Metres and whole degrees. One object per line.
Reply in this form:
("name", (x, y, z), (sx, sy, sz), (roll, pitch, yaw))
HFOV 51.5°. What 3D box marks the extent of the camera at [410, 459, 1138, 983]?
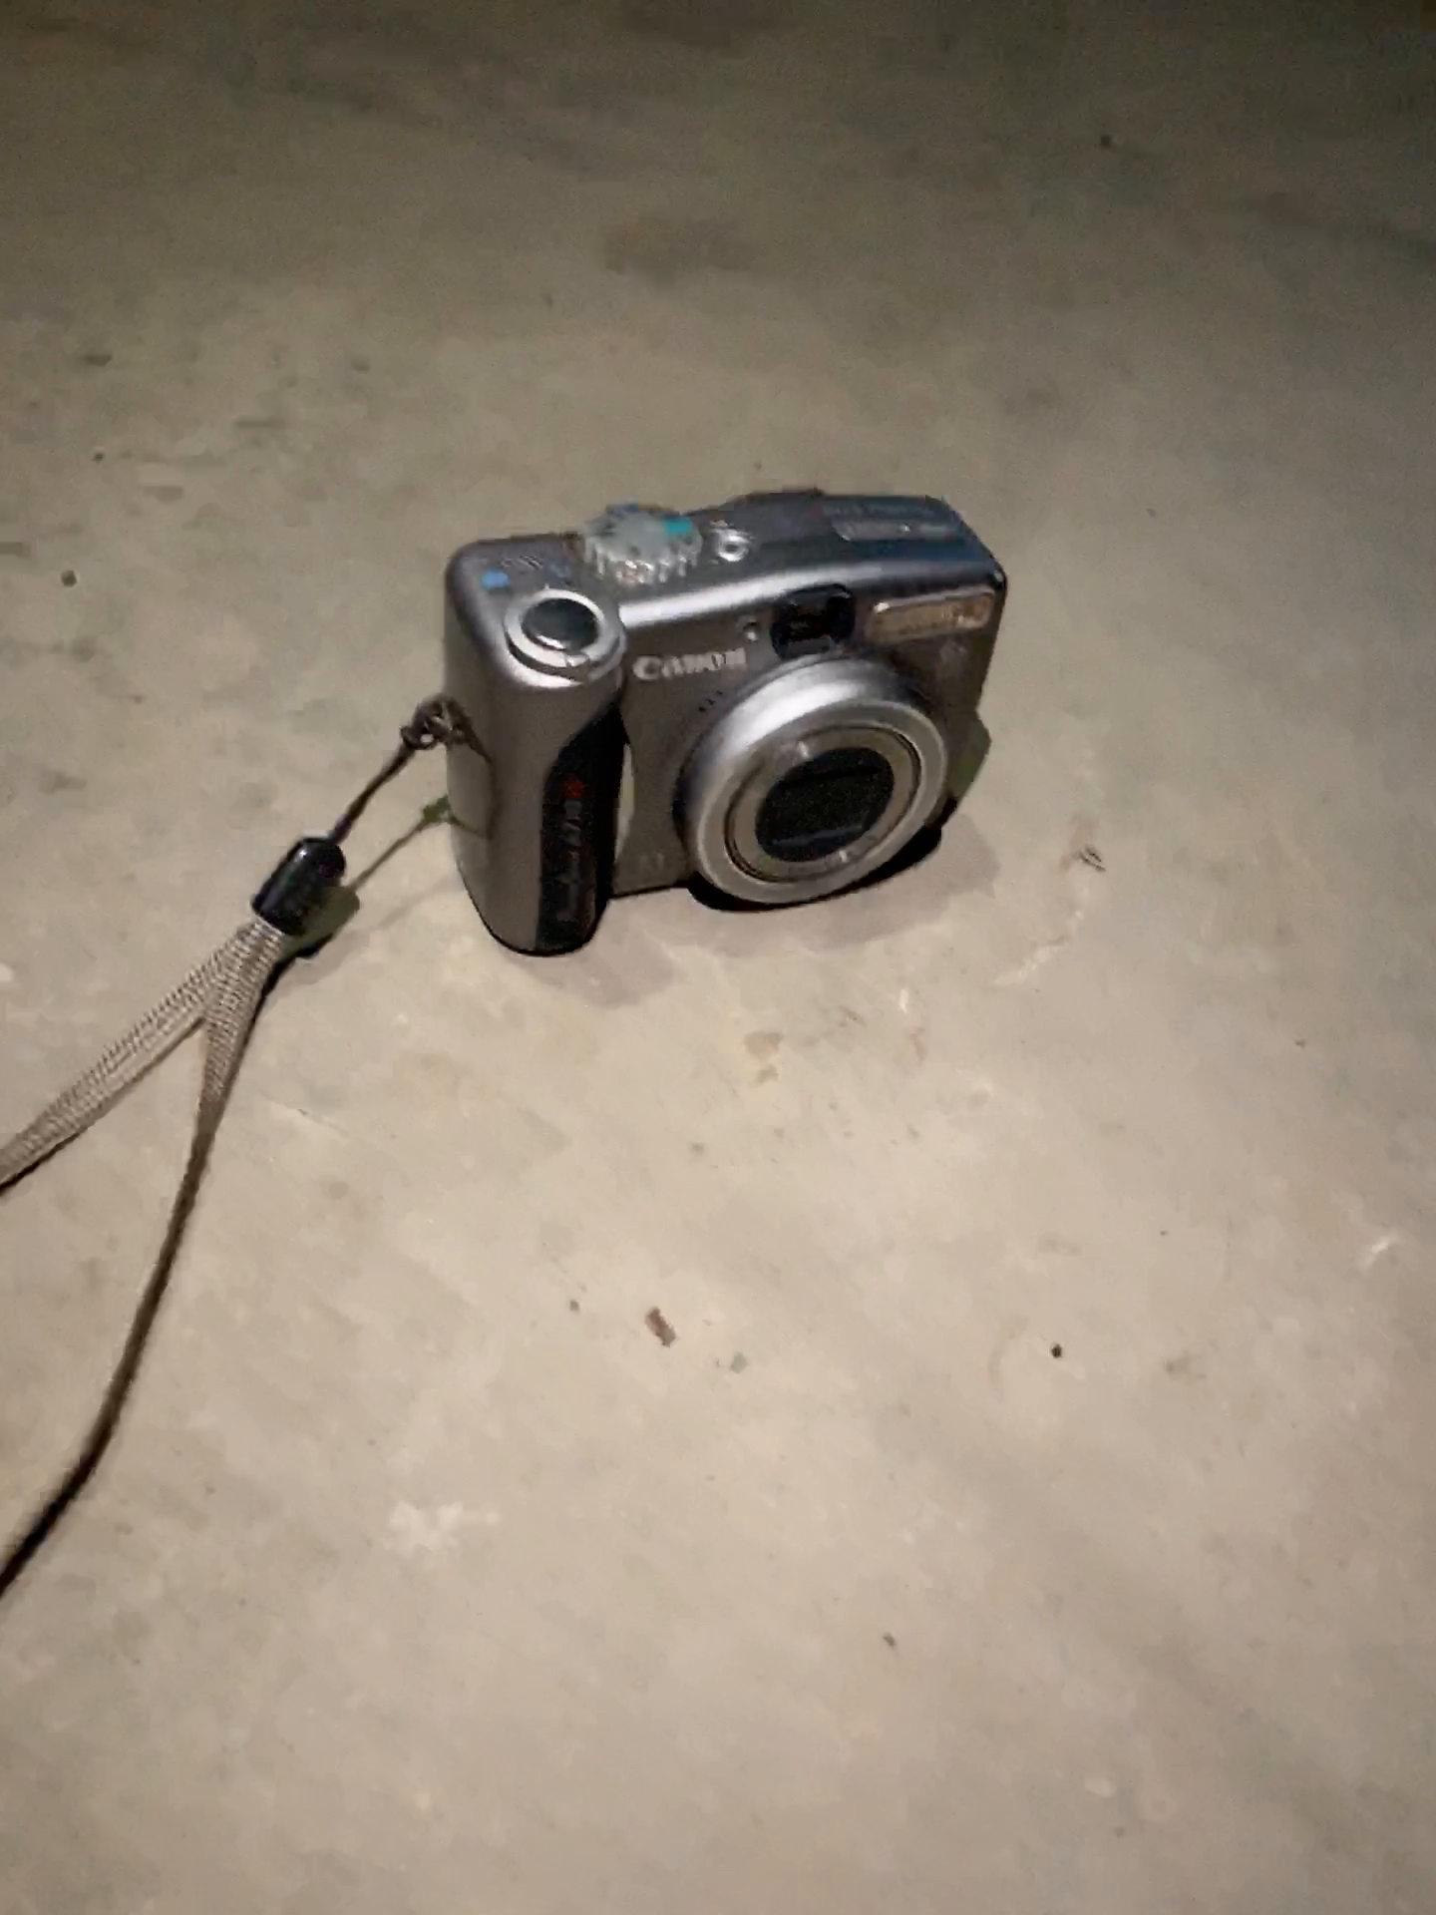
("camera", (0.006, -0.044, 0.260), (0.109, 0.060, 0.048), (-12, 49, -20))
